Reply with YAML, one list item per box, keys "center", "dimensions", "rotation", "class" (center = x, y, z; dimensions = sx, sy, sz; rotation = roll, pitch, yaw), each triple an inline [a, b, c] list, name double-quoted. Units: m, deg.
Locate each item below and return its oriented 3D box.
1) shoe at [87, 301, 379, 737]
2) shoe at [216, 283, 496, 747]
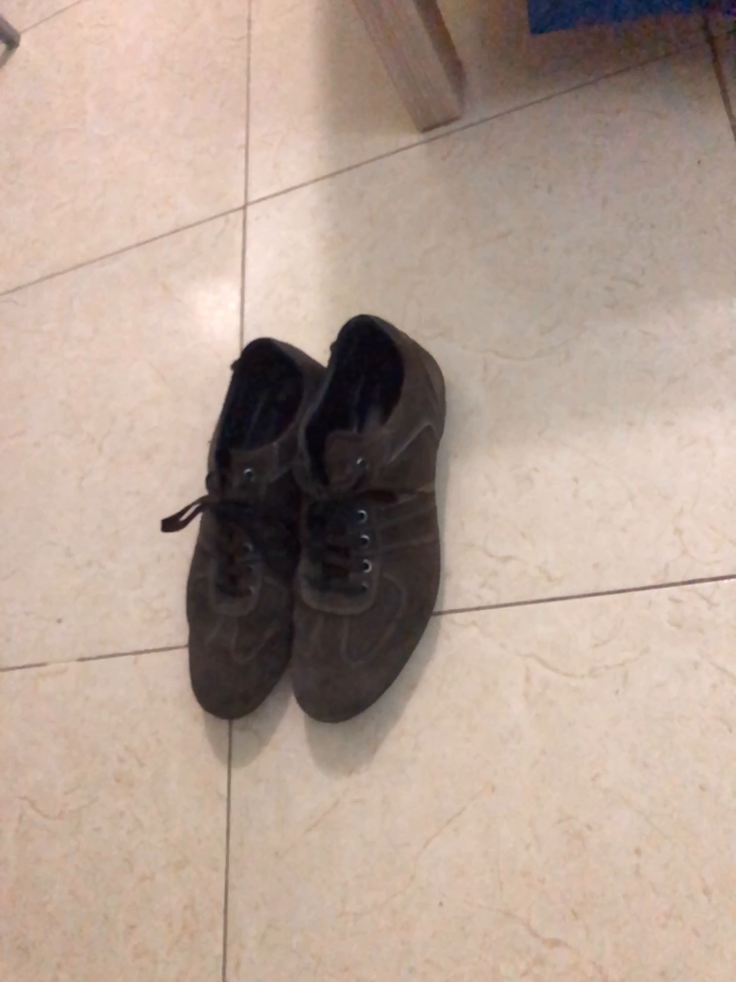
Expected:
- center: [-0.092, 0.020, 0.627]
  dimensions: [0.120, 0.110, 0.300]
  rotation: [2, 72, 27]
  class: "shoe"
- center: [0.002, 0.016, 0.588]
  dimensions: [0.110, 0.110, 0.300]
  rotation: [3, 72, 27]
  class: "shoe"
